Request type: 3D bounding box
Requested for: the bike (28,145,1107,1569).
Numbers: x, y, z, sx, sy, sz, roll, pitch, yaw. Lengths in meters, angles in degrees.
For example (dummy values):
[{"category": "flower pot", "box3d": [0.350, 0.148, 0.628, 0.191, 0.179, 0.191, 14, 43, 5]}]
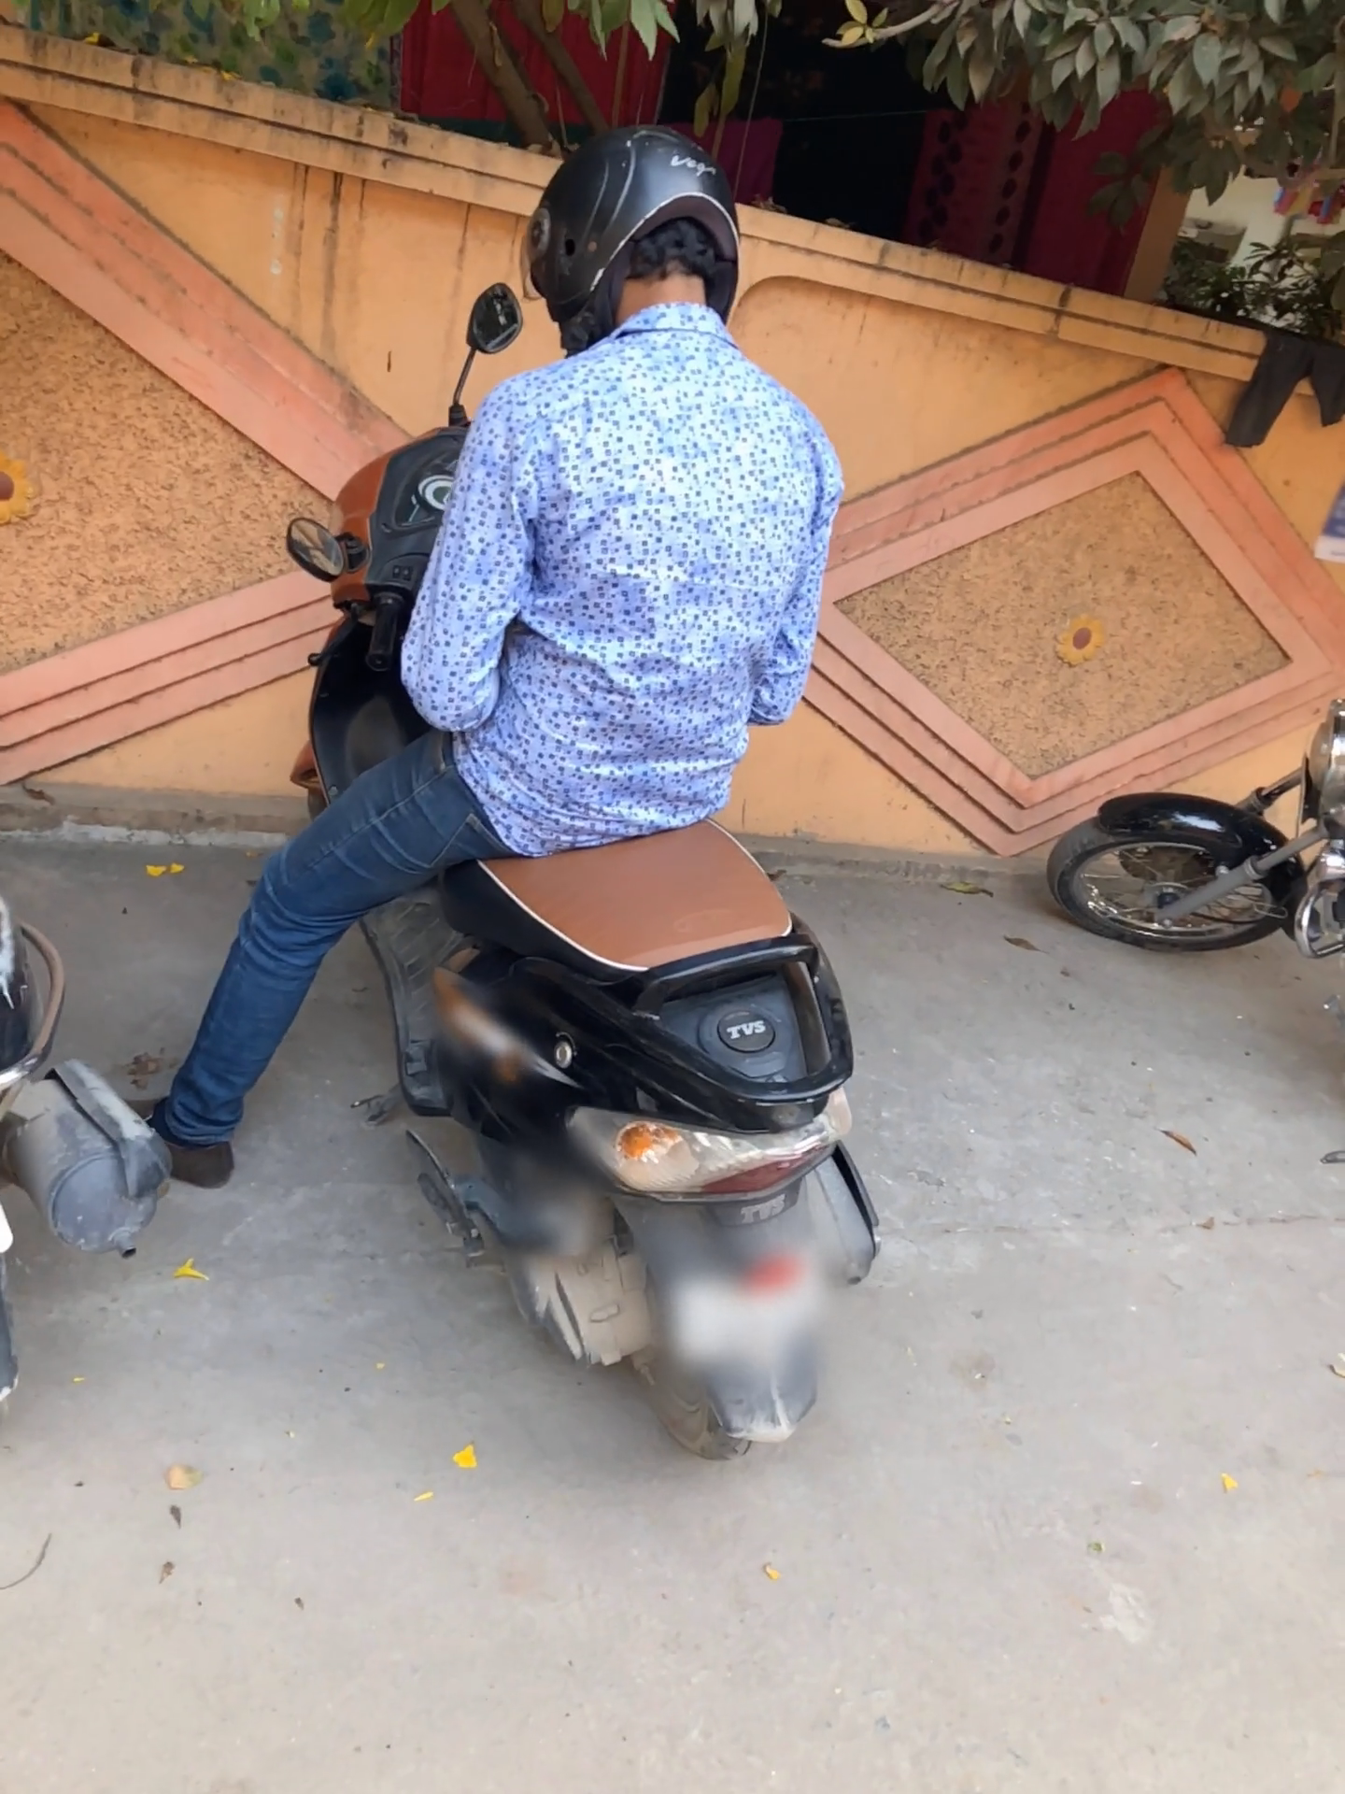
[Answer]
[{"category": "bike", "box3d": [-0.301, -0.145, 1.928, 0.630, 1.038, 1.323, -6, 37, -37]}]
